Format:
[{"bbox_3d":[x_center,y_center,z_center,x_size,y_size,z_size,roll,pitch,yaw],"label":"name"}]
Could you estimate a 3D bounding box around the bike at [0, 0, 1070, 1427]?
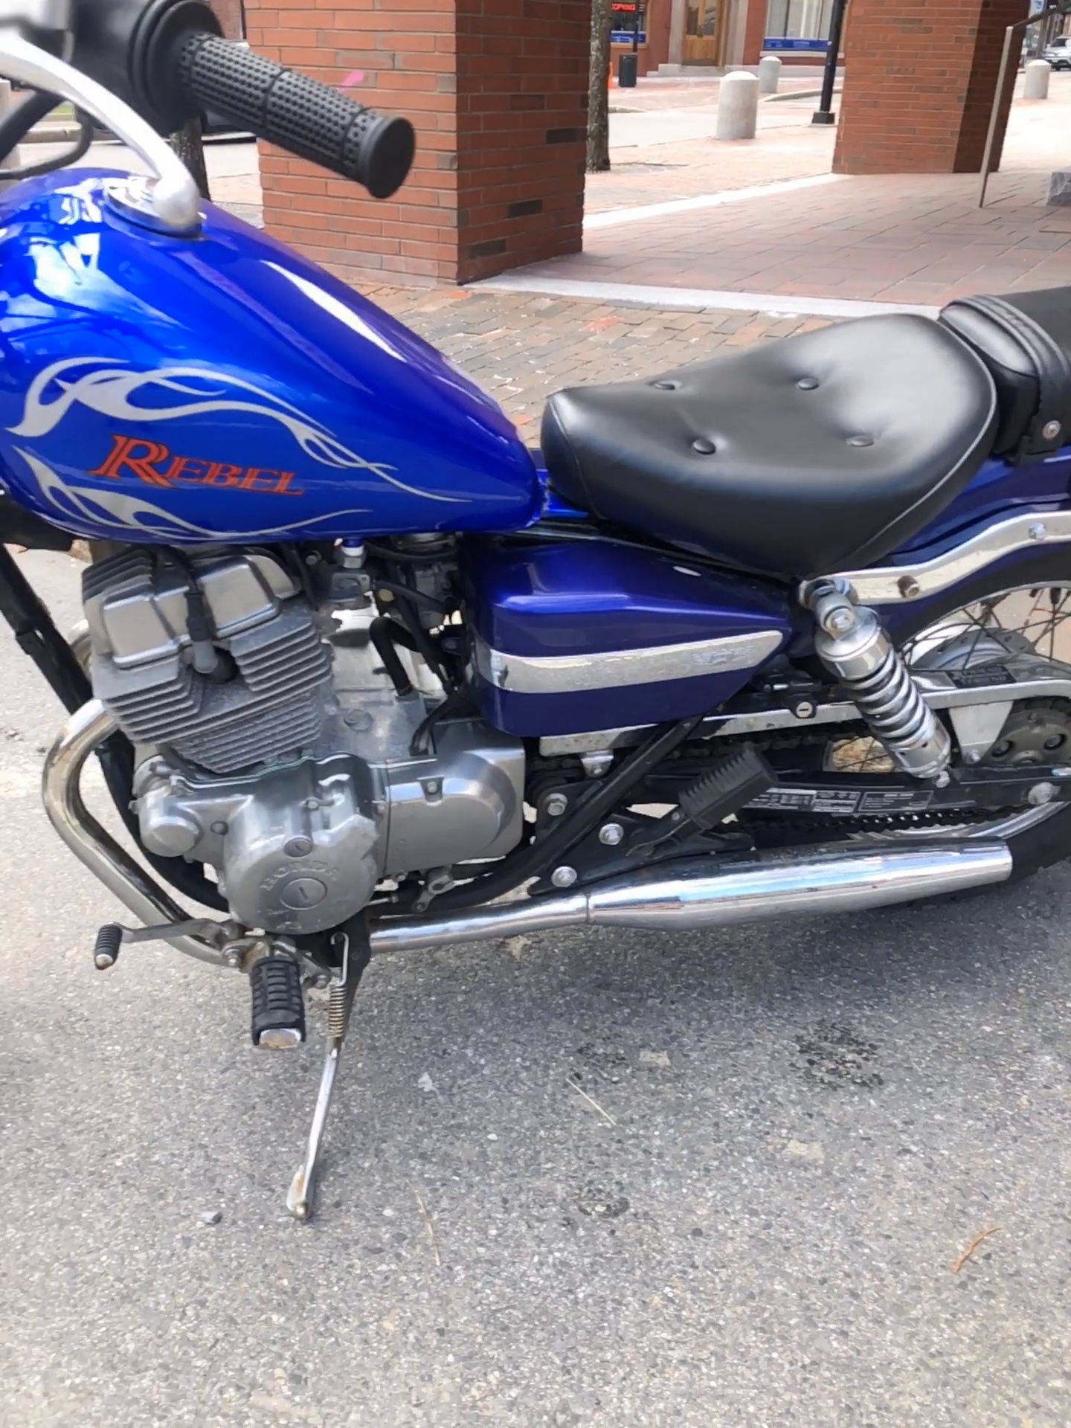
[{"bbox_3d":[-0.057,-0.066,0.872,2.027,1.178,0.929,-6,30,-20],"label":"bike"}]
